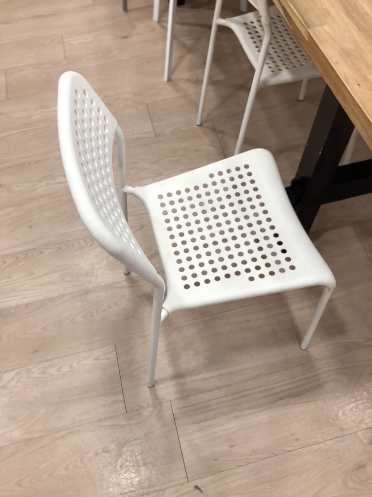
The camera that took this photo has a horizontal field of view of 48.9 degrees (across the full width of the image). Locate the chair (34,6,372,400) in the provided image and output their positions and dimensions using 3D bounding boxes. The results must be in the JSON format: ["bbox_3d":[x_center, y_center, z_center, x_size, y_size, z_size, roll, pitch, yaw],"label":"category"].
[{"bbox_3d":[0.034,-0.014,0.877,0.450,0.697,0.422,-13,60,-5],"label":"chair"}]
